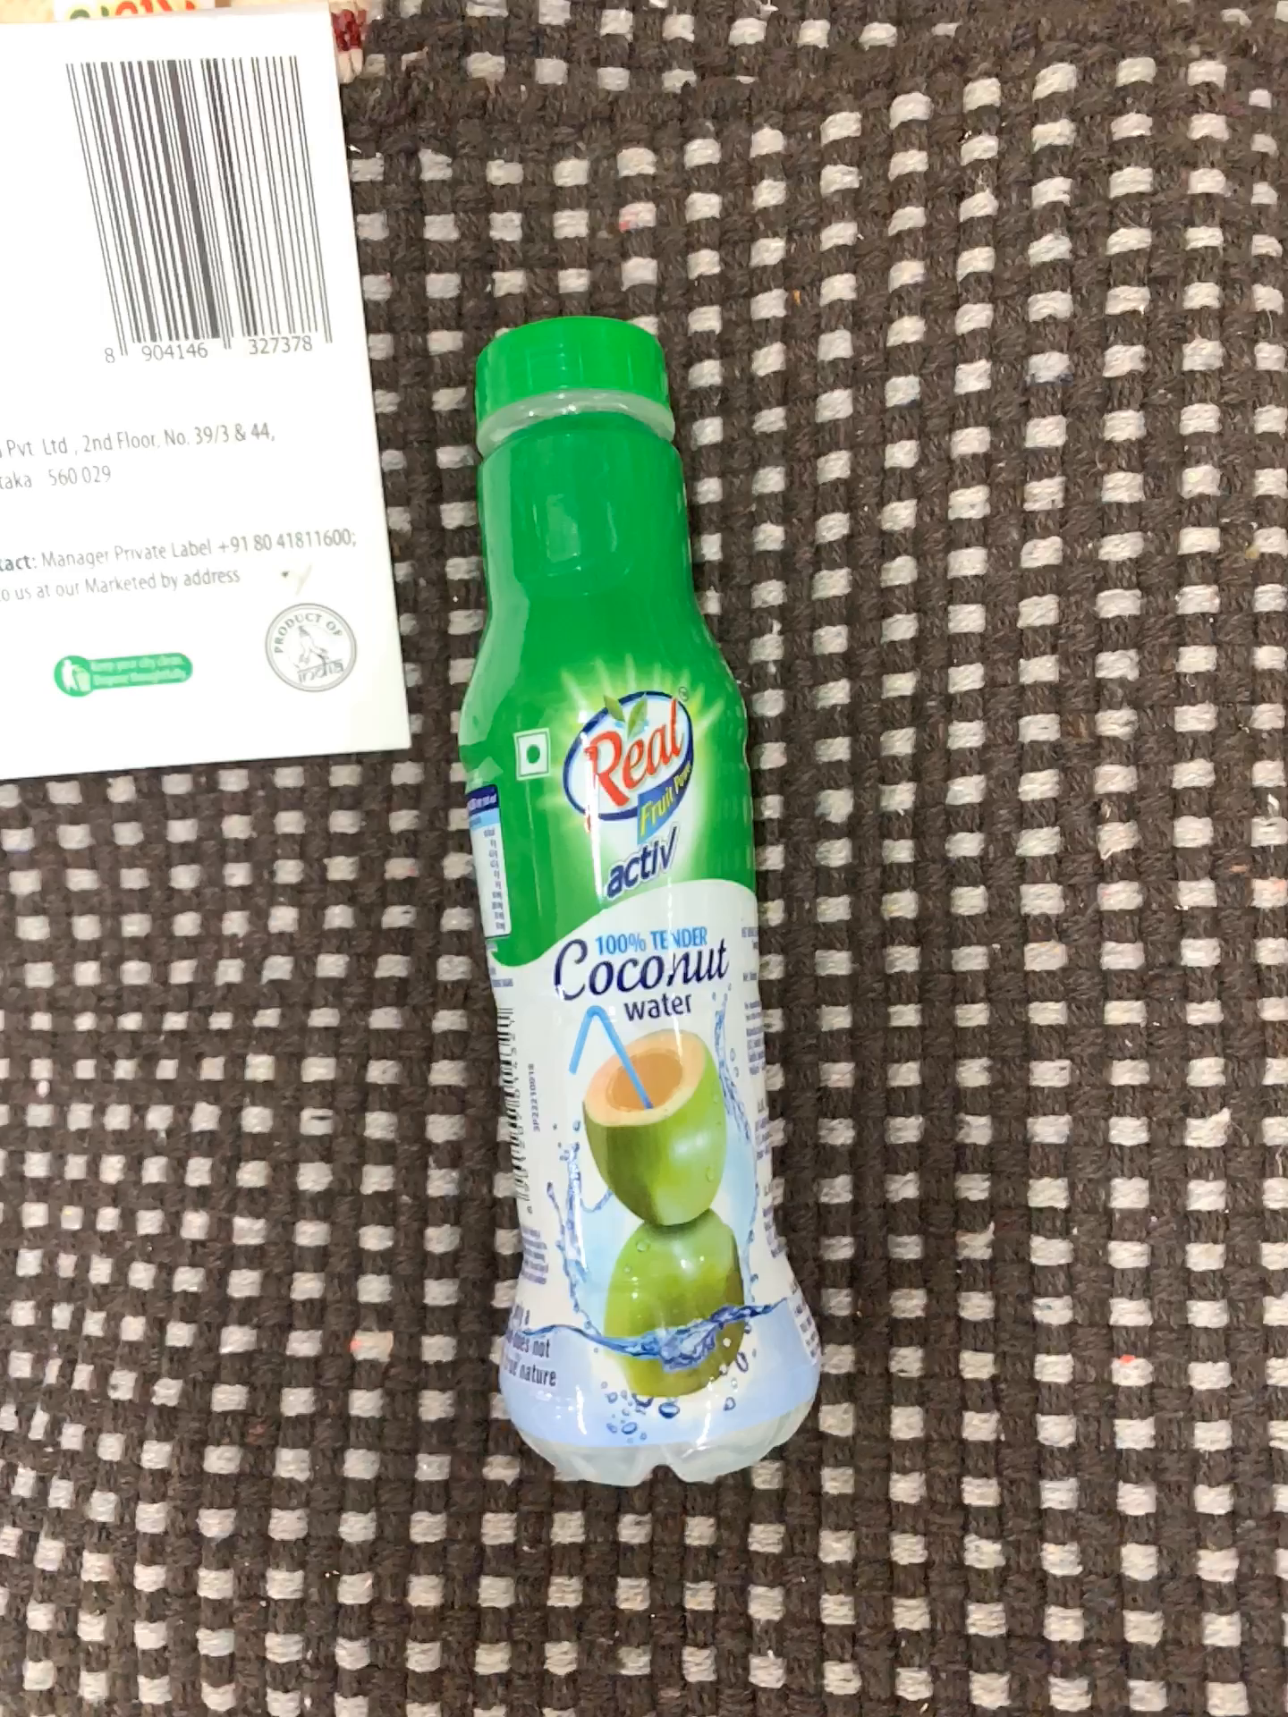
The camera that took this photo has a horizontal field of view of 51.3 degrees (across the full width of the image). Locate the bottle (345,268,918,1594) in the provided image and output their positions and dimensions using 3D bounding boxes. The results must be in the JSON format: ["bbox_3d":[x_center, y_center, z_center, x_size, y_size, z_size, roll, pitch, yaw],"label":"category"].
[{"bbox_3d":[-0.001,0.011,0.196,0.060,0.040,0.170,-5,95,-2],"label":"bottle"}]
